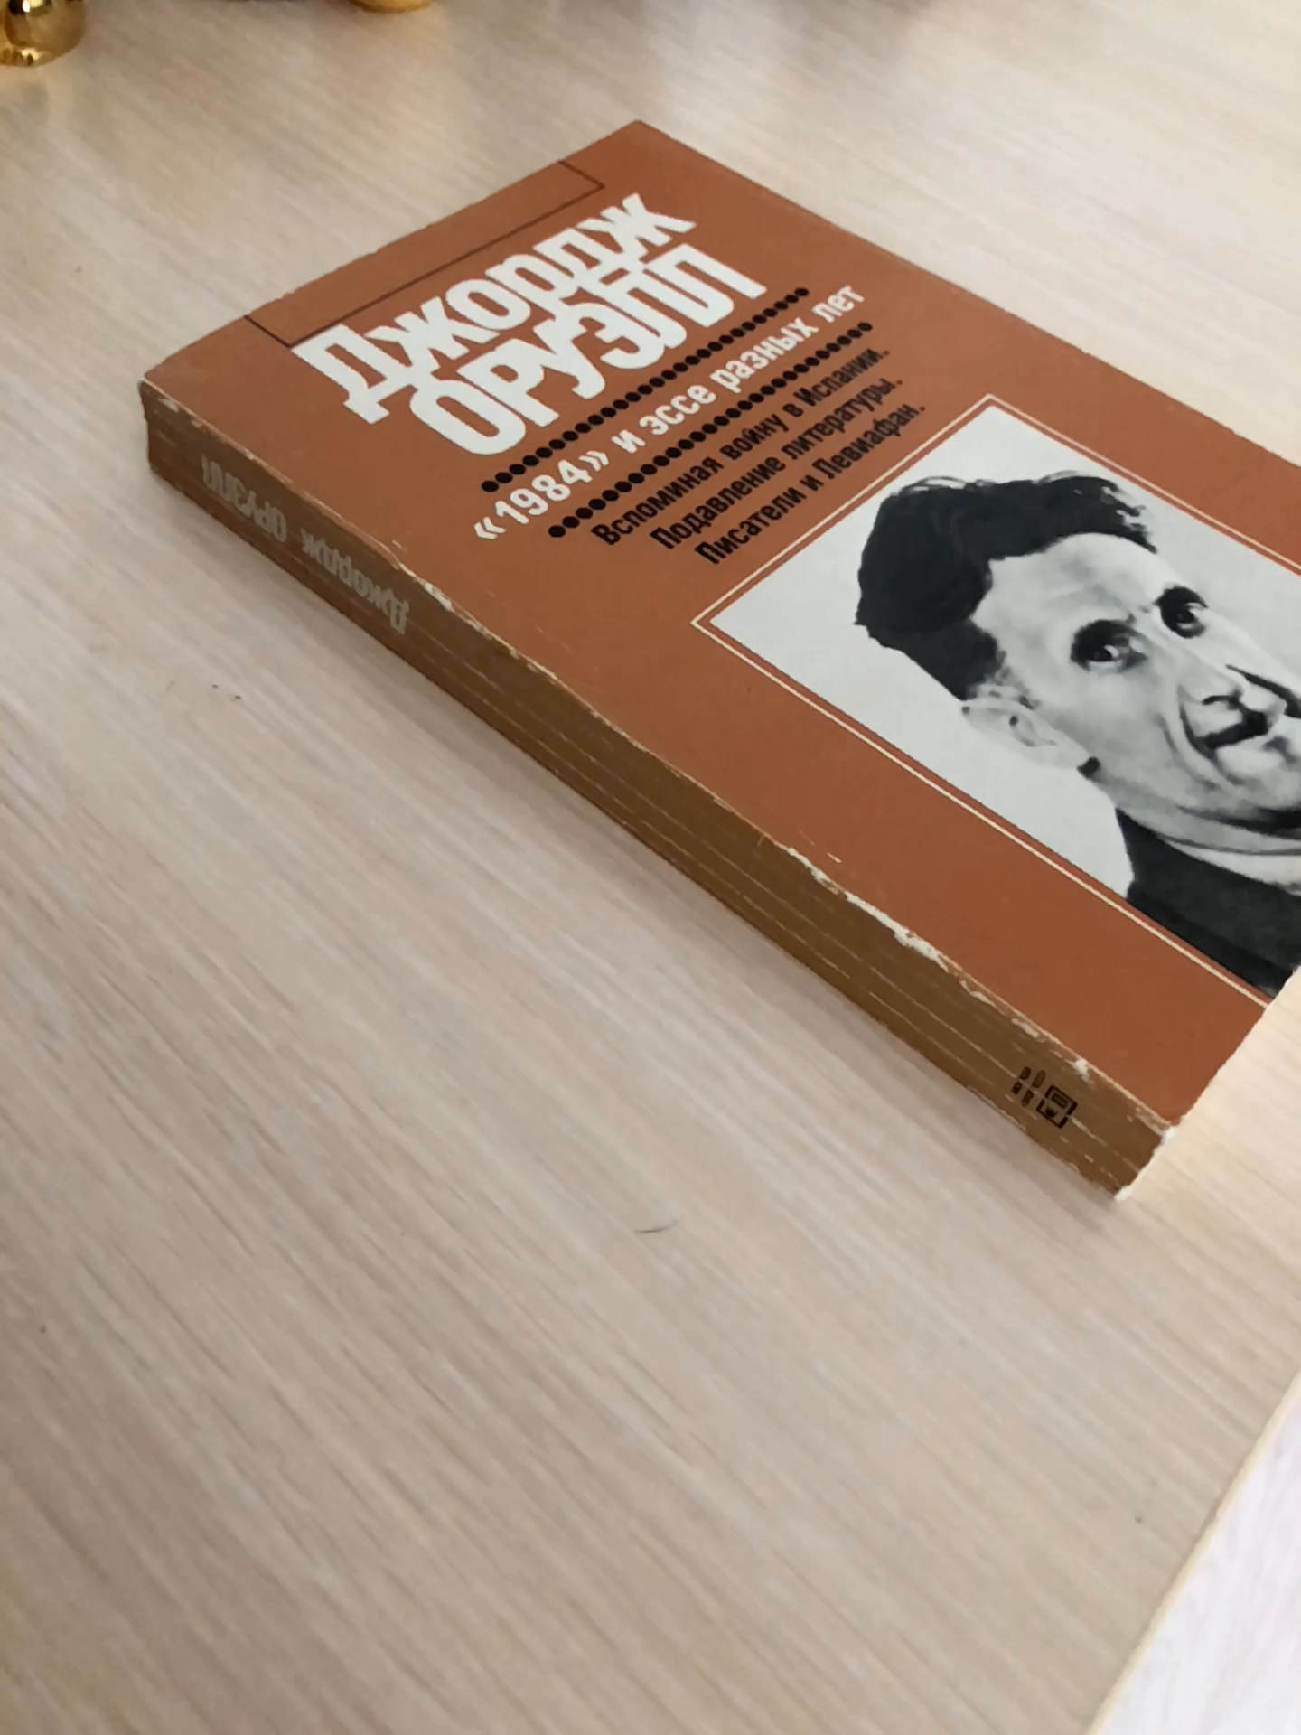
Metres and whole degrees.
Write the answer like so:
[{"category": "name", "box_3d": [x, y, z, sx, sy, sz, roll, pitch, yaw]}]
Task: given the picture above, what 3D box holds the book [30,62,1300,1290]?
[{"category": "book", "box_3d": [0.021, -0.054, 0.239, 0.210, 0.040, 0.131, 37, 60, 22]}]
